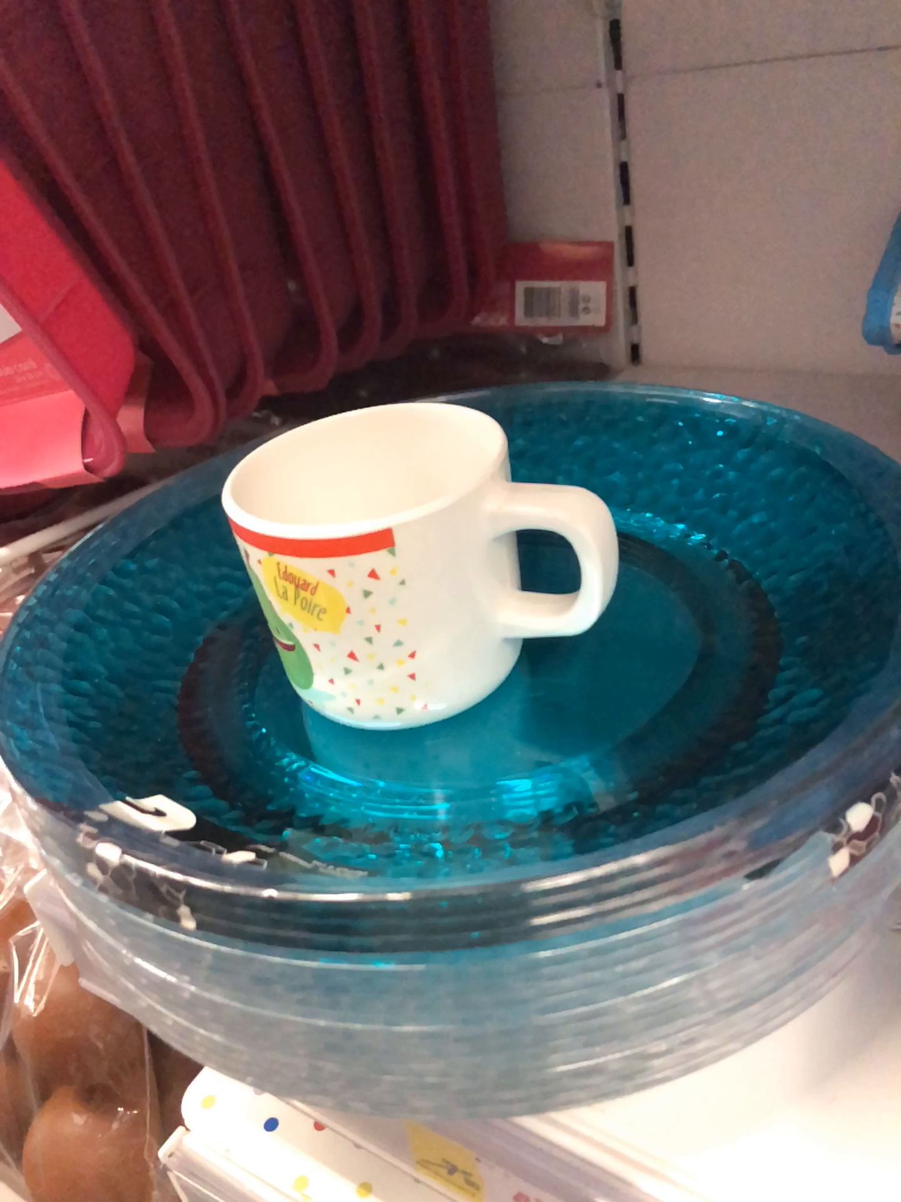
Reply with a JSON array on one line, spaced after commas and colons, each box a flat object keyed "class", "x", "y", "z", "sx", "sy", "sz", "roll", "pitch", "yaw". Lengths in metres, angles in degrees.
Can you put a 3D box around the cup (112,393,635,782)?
[{"class": "cup", "x": -0.015, "y": -0.010, "z": 0.261, "sx": 0.102, "sy": 0.059, "sz": 0.077, "roll": 7, "pitch": 37, "yaw": 26}]
